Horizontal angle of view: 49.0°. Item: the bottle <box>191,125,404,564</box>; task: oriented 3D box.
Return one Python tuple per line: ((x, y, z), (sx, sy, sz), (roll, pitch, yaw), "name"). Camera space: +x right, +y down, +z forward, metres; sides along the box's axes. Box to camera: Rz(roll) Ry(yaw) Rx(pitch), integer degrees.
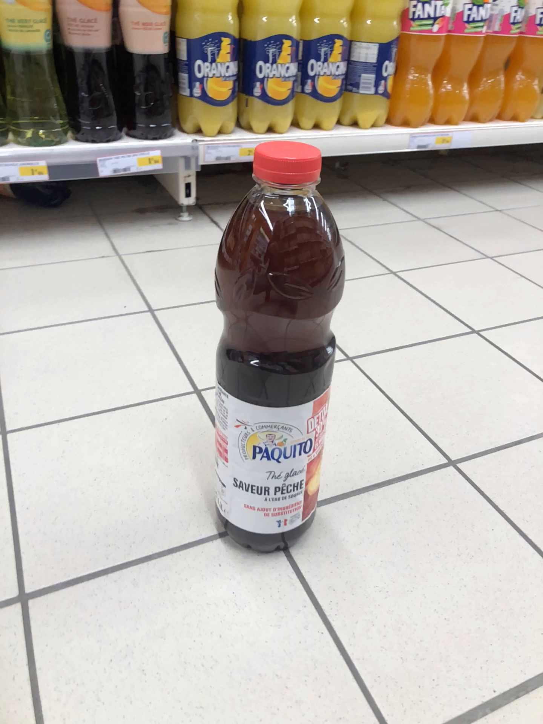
((0.005, -0.004, 0.421), (0.090, 0.288, 0.090), (3, 32, -2), "bottle")
